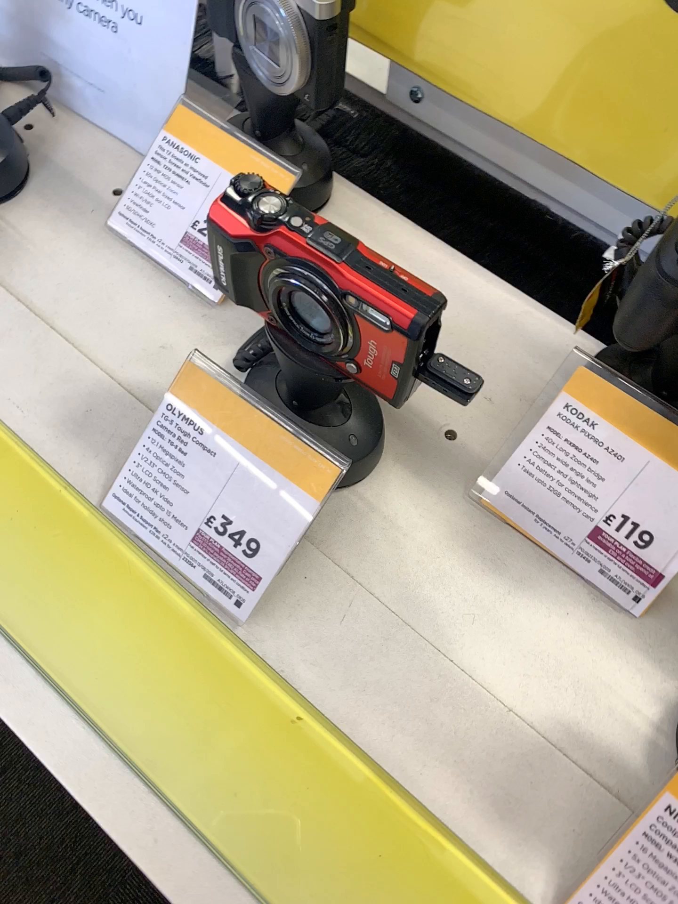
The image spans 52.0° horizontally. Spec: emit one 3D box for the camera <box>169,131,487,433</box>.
[{"bbox_3d":[-0.007,-0.069,0.287,0.120,0.060,0.040,36,66,14],"label":"camera"}]
